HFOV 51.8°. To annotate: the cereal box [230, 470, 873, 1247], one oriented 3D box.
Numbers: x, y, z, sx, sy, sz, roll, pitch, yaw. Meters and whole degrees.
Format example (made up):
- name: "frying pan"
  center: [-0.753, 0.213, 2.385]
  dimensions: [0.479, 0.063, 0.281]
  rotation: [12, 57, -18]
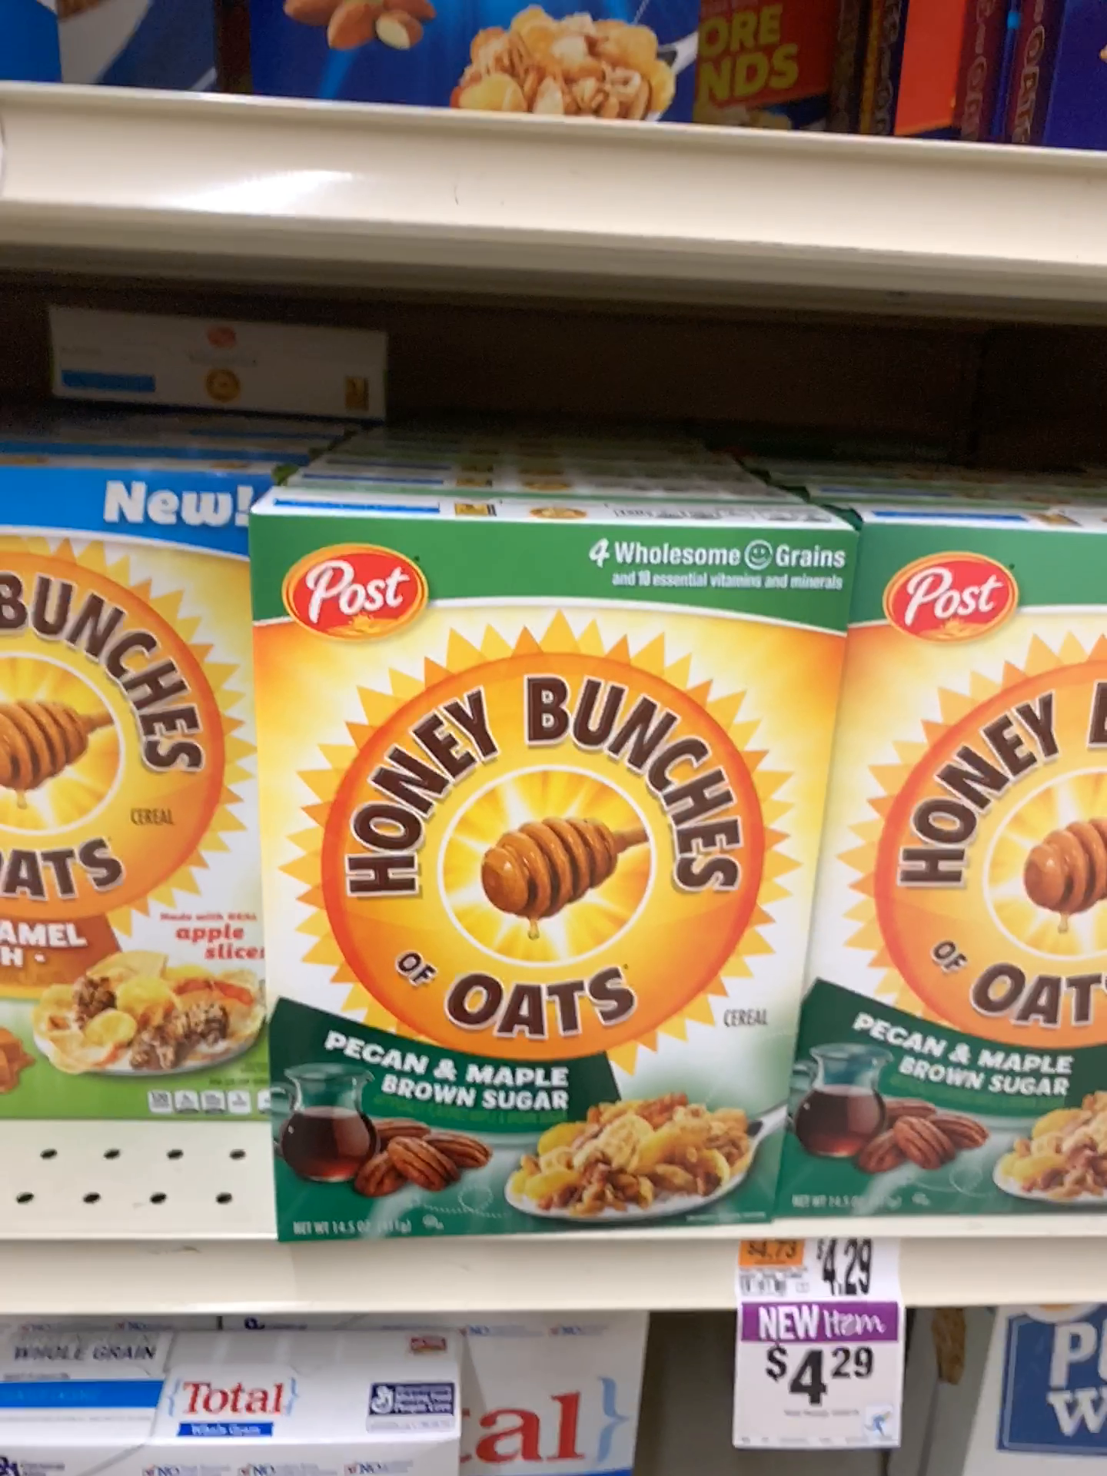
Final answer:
- name: "cereal box"
  center: [-0.007, 0.050, 0.425]
  dimensions: [0.200, 0.279, 0.060]
  rotation: [0, 19, -8]
